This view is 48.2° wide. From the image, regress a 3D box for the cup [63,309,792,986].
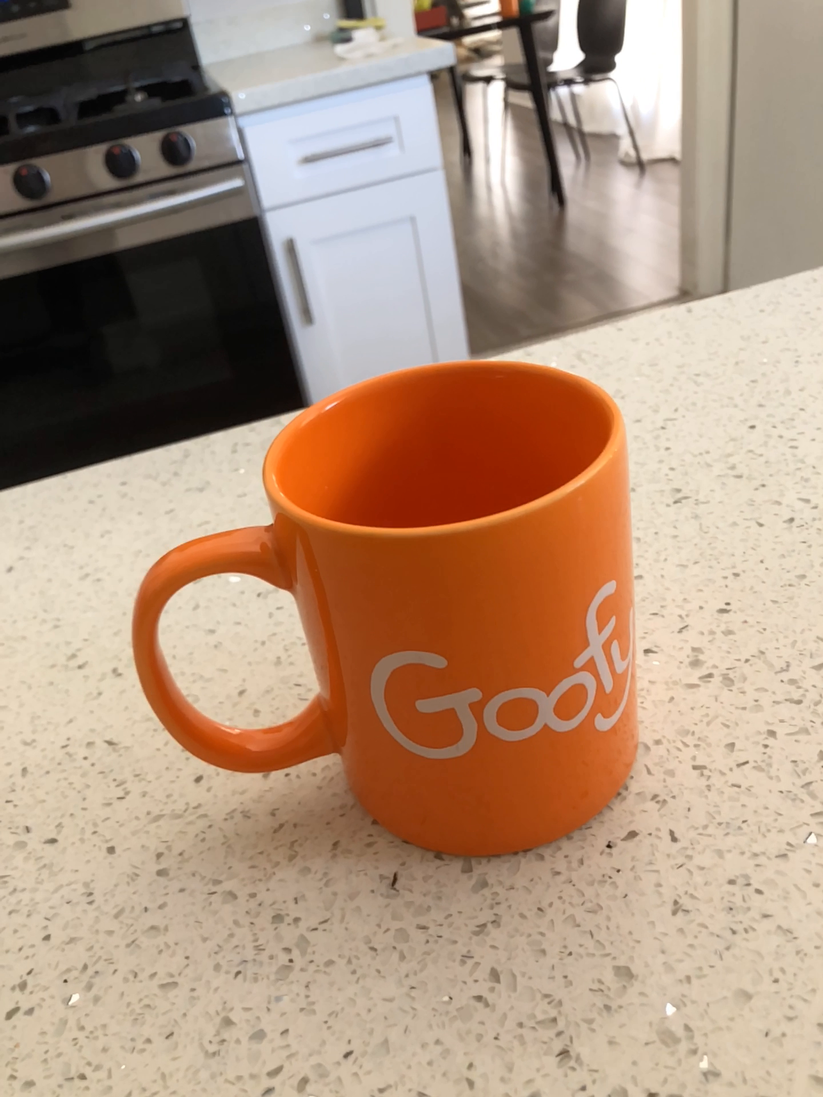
[{"bbox_3d":[0.004,0.018,0.223,0.130,0.101,0.090,-14,32,-5],"label":"cup"}]
